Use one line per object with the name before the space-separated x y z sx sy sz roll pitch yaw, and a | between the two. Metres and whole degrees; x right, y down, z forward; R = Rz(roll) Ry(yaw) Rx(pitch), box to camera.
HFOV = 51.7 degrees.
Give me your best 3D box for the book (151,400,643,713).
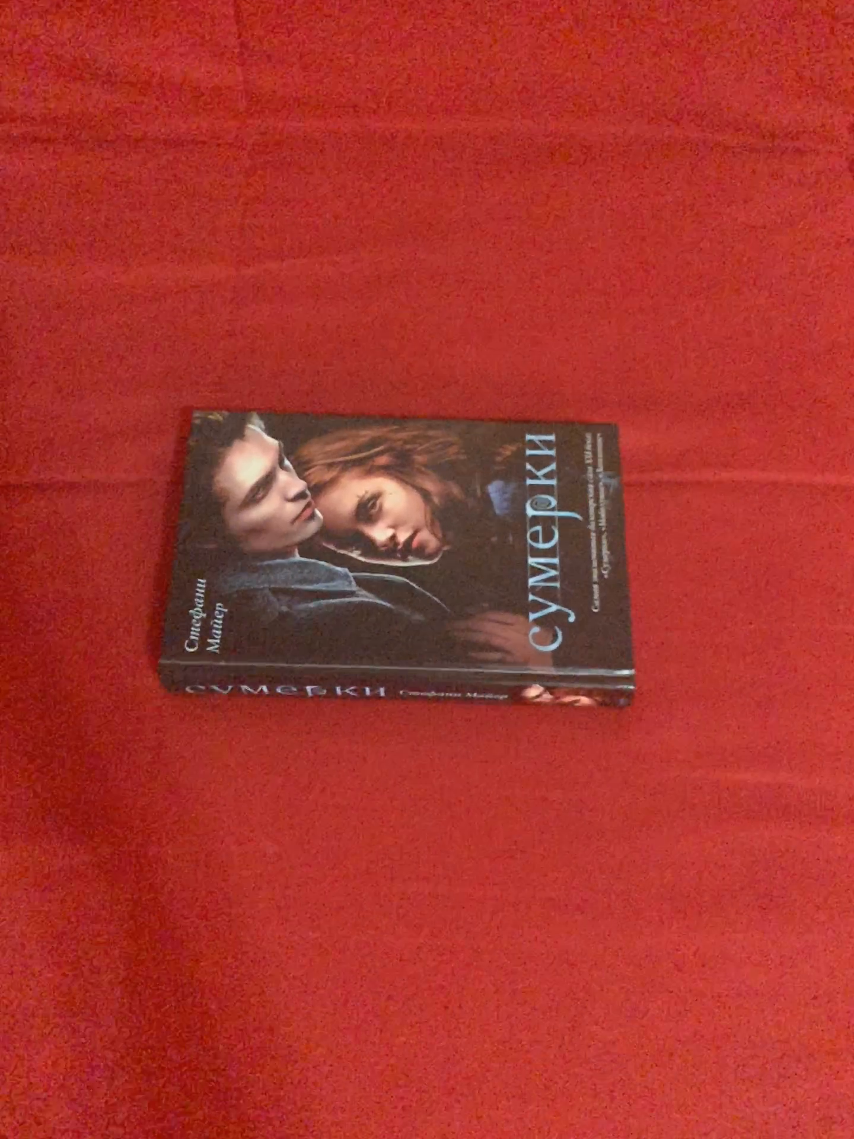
book | -0.011 -0.007 0.411 0.209 0.036 0.134 2 72 -1
